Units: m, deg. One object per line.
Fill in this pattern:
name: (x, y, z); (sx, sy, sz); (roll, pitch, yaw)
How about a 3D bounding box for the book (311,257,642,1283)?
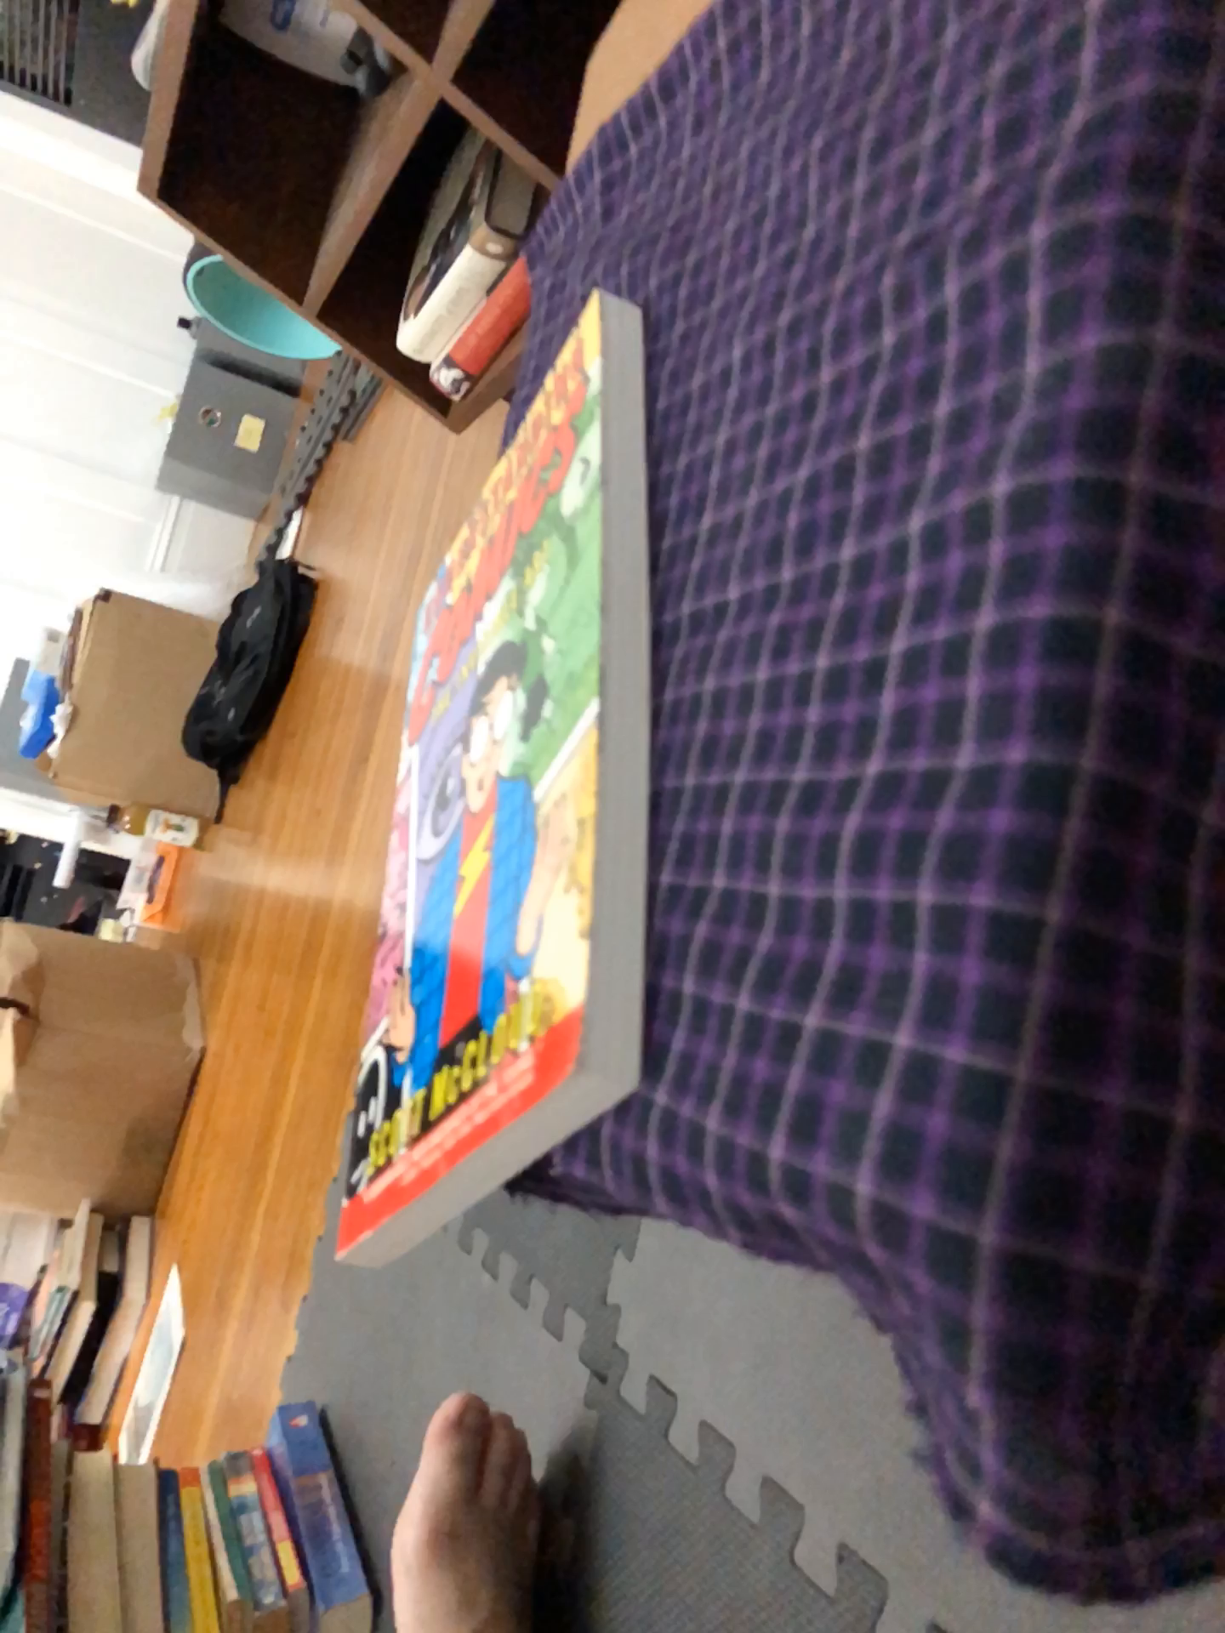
book: (-0.040, -0.016, 0.407); (0.170, 0.020, 0.271); (-46, 35, 49)
